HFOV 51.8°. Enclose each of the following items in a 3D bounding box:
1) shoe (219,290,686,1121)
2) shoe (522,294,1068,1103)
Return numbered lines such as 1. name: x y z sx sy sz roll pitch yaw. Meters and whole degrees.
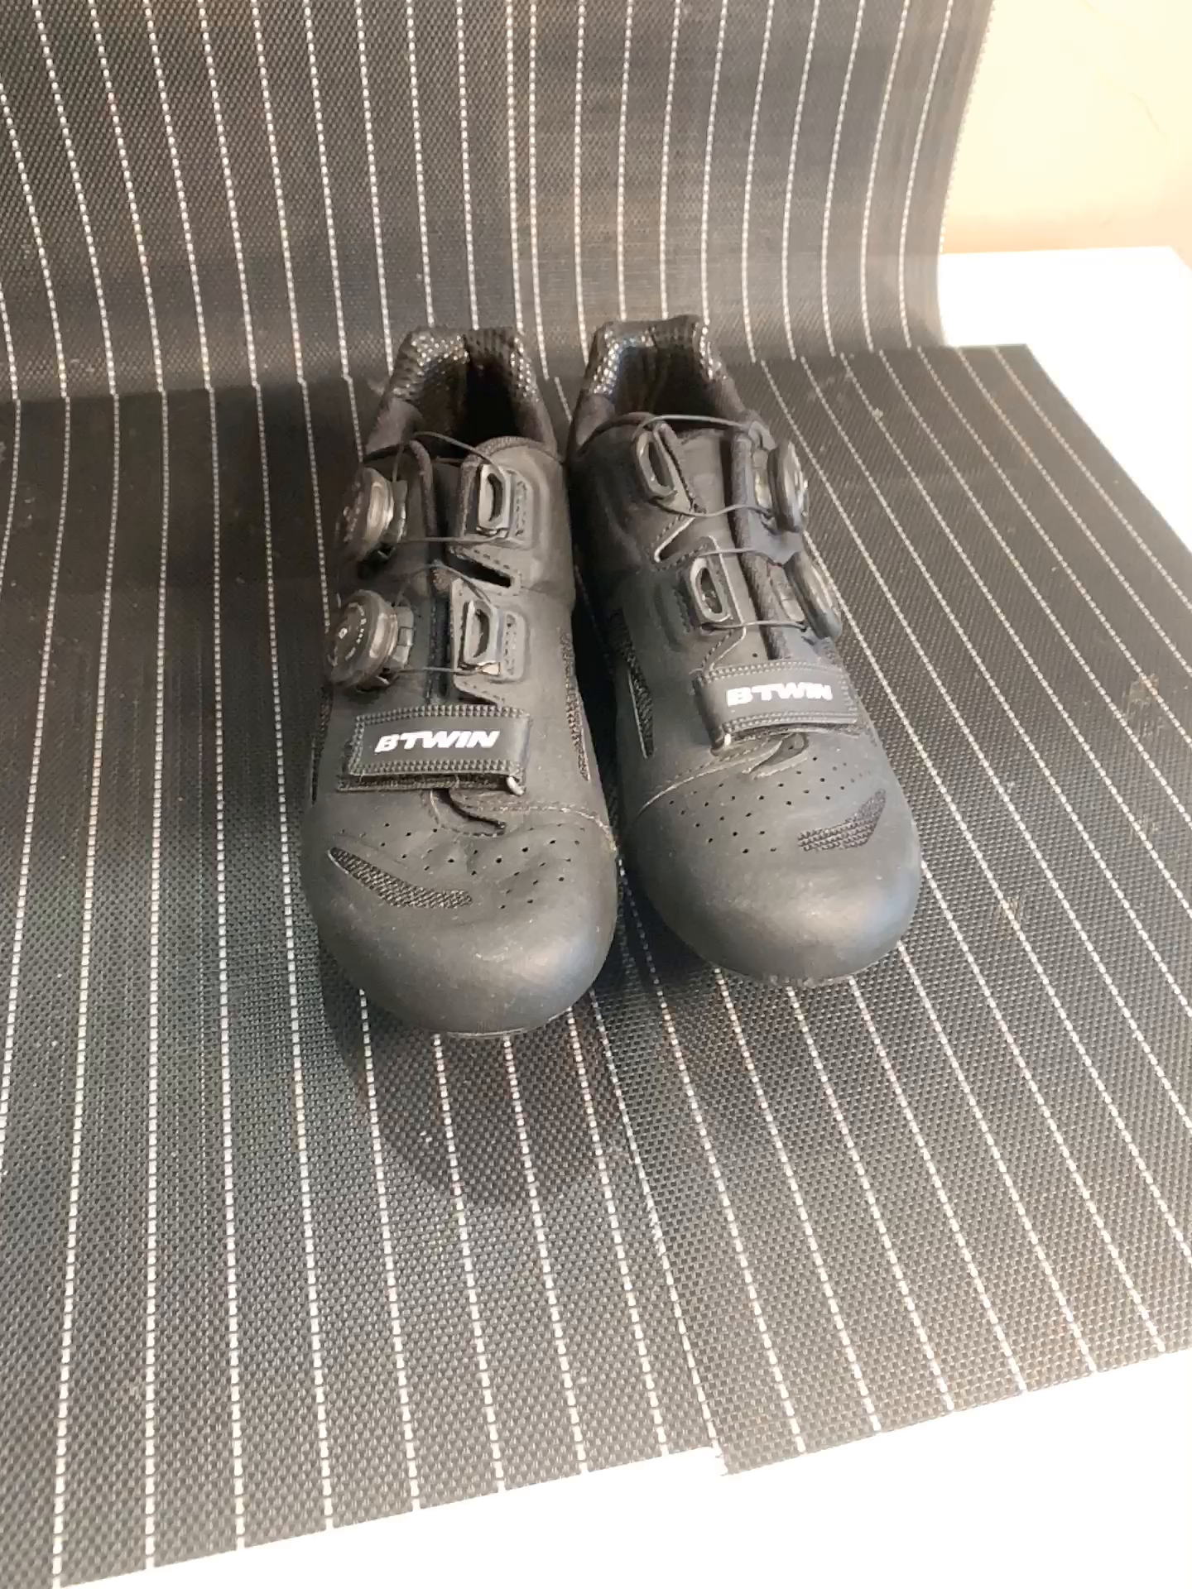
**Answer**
1. shoe: -0.044 -0.044 0.380 0.100 0.090 0.261 -1 52 -6
2. shoe: 0.041 -0.050 0.403 0.100 0.090 0.271 -4 52 -8
